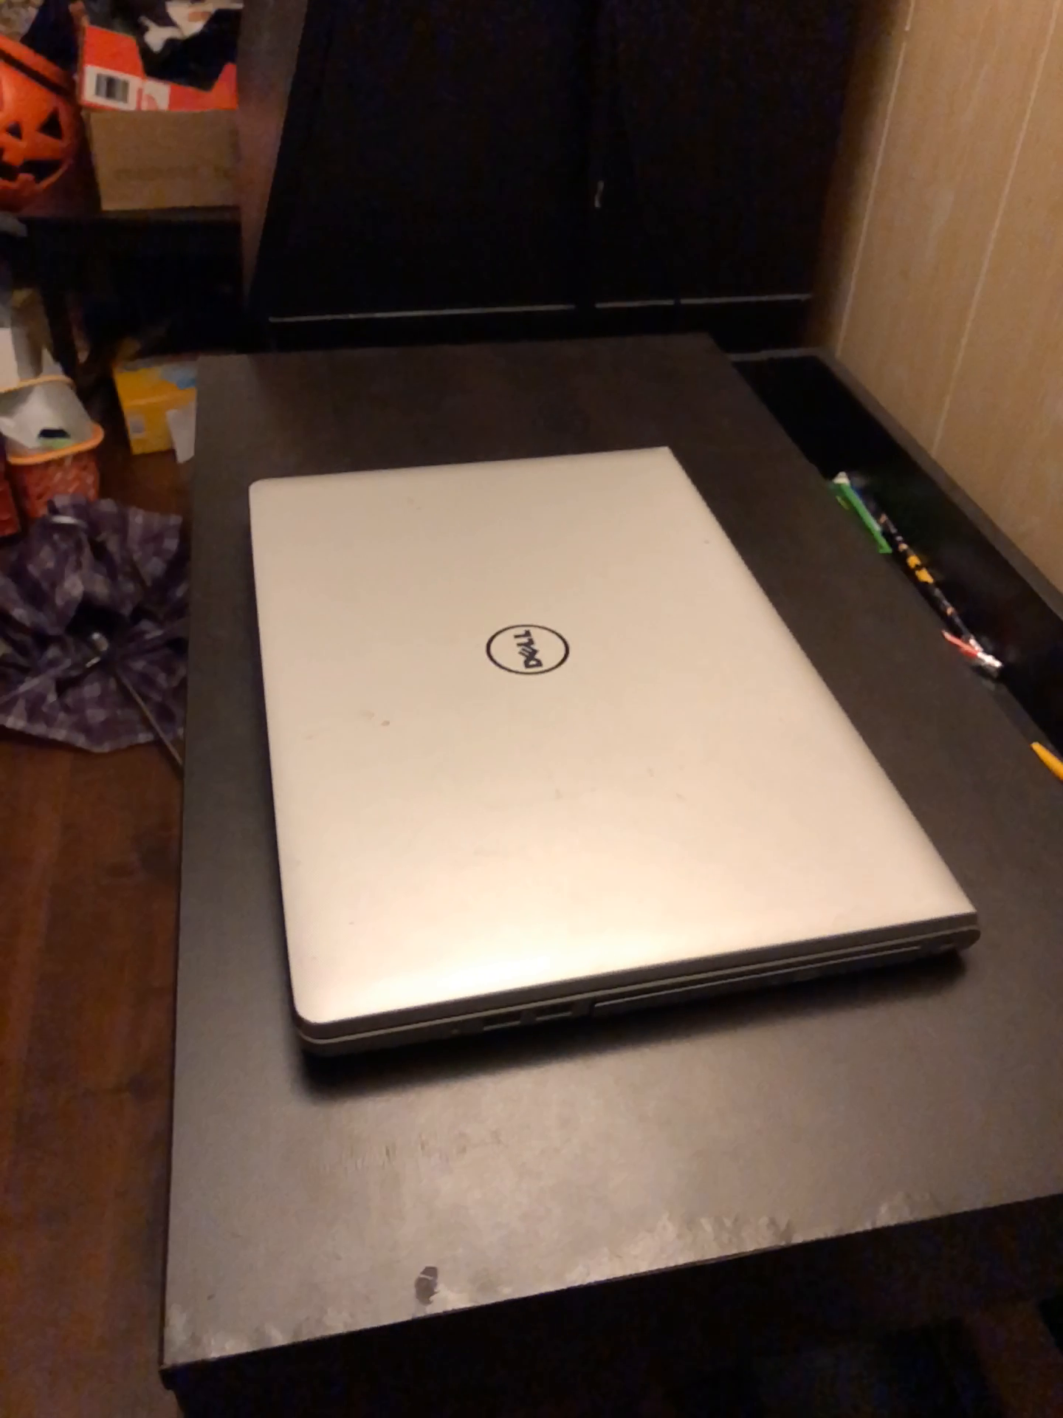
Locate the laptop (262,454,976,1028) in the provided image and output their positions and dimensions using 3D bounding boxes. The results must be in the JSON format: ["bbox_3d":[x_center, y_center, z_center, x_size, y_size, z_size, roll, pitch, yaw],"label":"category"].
[{"bbox_3d":[0.005,-0.025,0.556,0.249,0.003,0.373,-7,40,-10],"label":"laptop"}]
